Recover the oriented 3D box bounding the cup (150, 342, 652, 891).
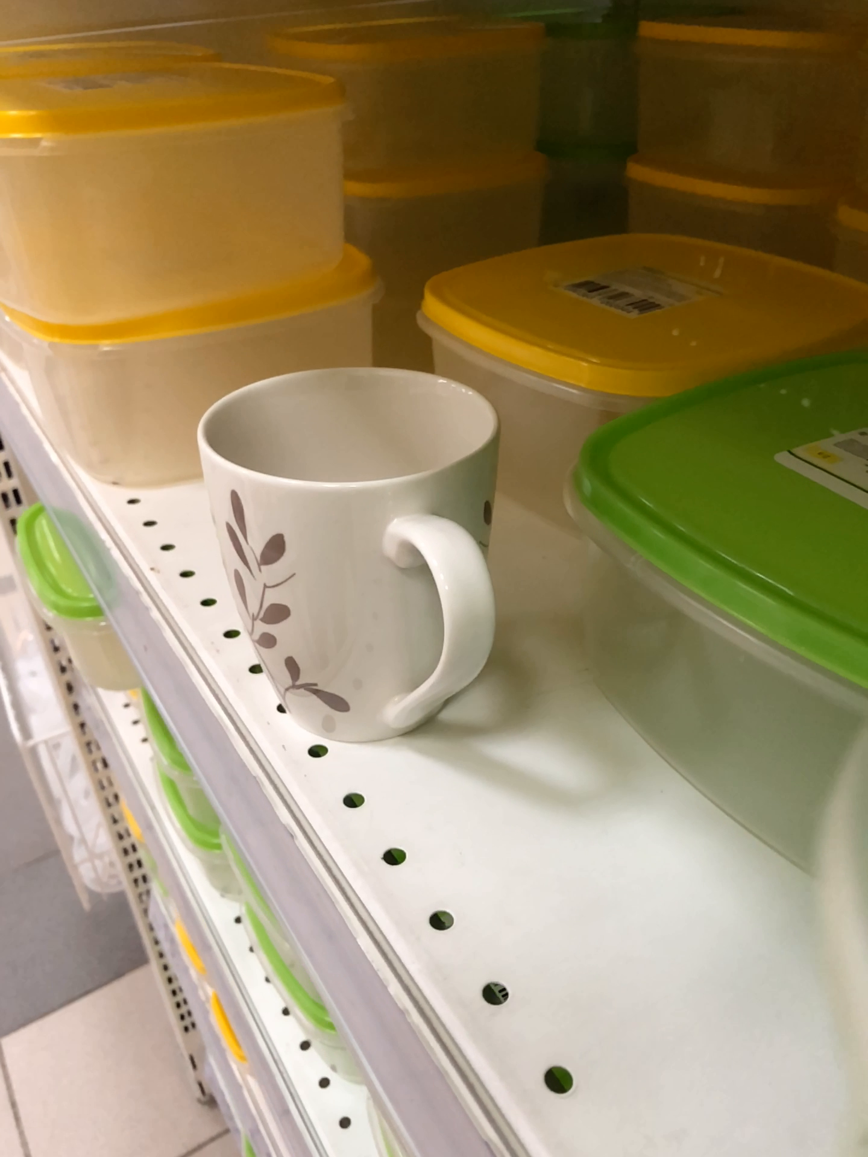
[{"bbox_3d":[-0.012,0.001,0.290,0.086,0.097,0.121,-23,38,-27],"label":"cup"}]
